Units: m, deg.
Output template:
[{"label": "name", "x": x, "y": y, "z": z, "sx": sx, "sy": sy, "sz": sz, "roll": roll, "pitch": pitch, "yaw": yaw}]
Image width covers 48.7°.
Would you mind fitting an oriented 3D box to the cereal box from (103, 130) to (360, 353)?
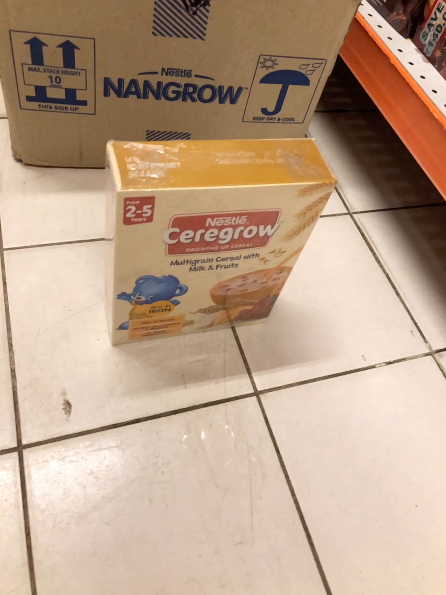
[{"label": "cereal box", "x": -0.010, "y": -0.036, "z": 0.390, "sx": 0.160, "sy": 0.189, "sz": 0.050, "roll": -8, "pitch": 58, "yaw": -19}]
